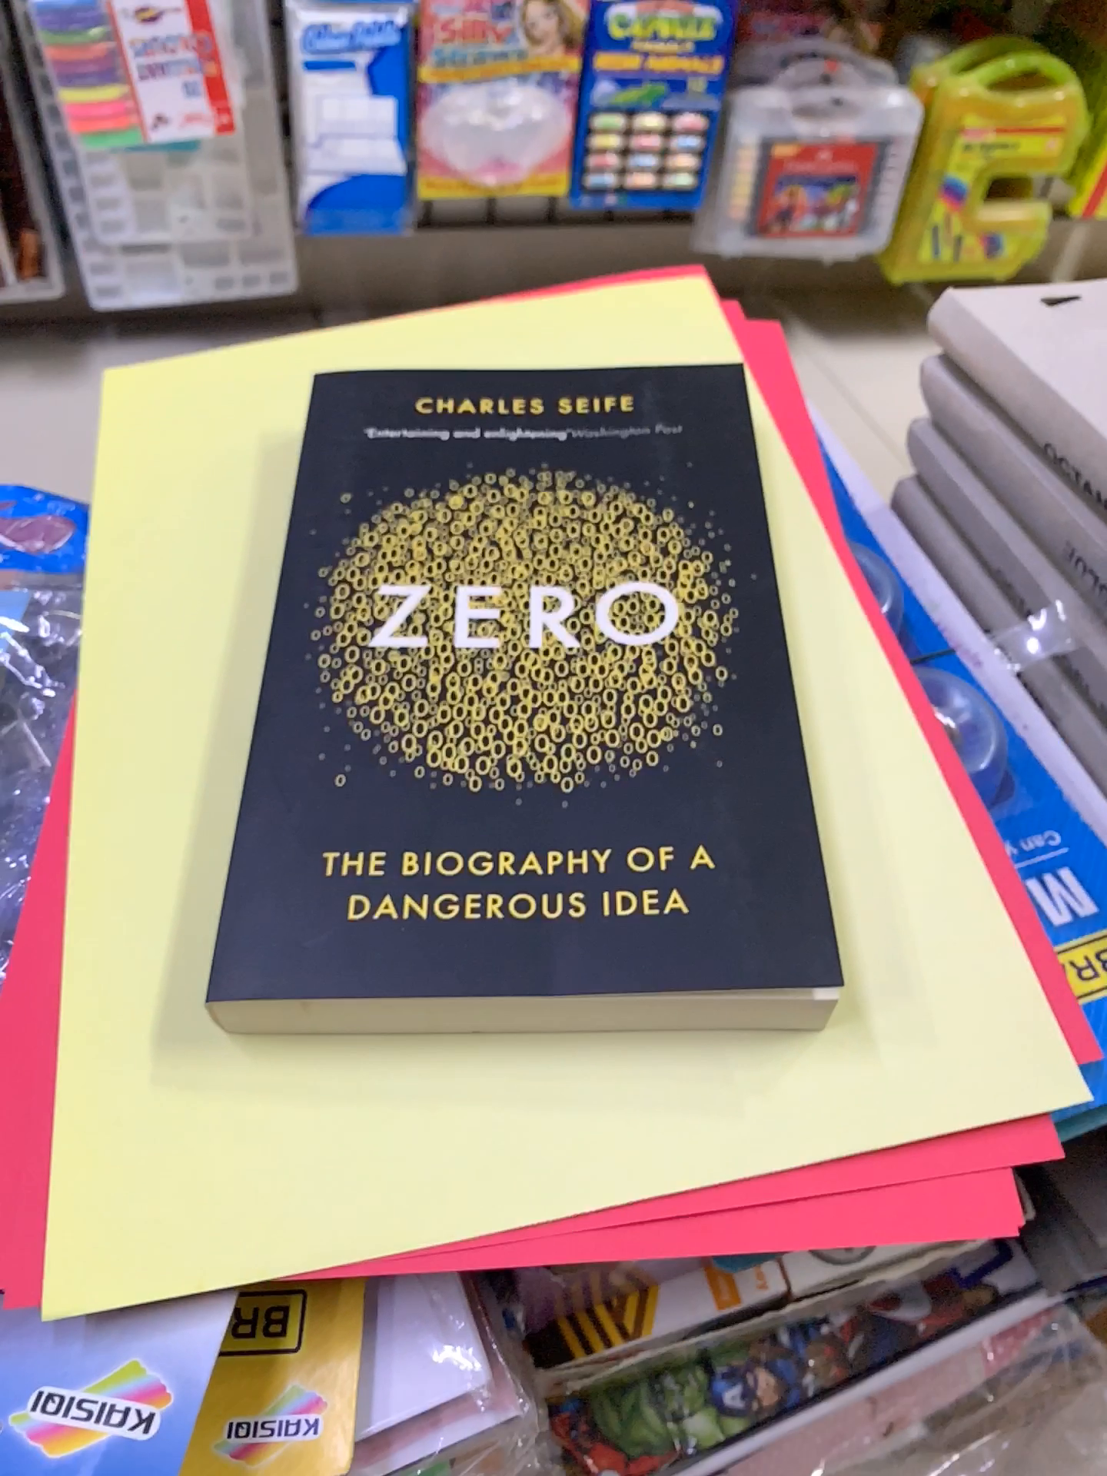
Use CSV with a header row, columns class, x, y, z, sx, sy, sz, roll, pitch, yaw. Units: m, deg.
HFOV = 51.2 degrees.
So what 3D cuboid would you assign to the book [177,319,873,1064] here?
class,x,y,z,sx,sy,sz,roll,pitch,yaw
book,-0.006,-0.025,0.289,0.130,0.040,0.201,0,56,0
